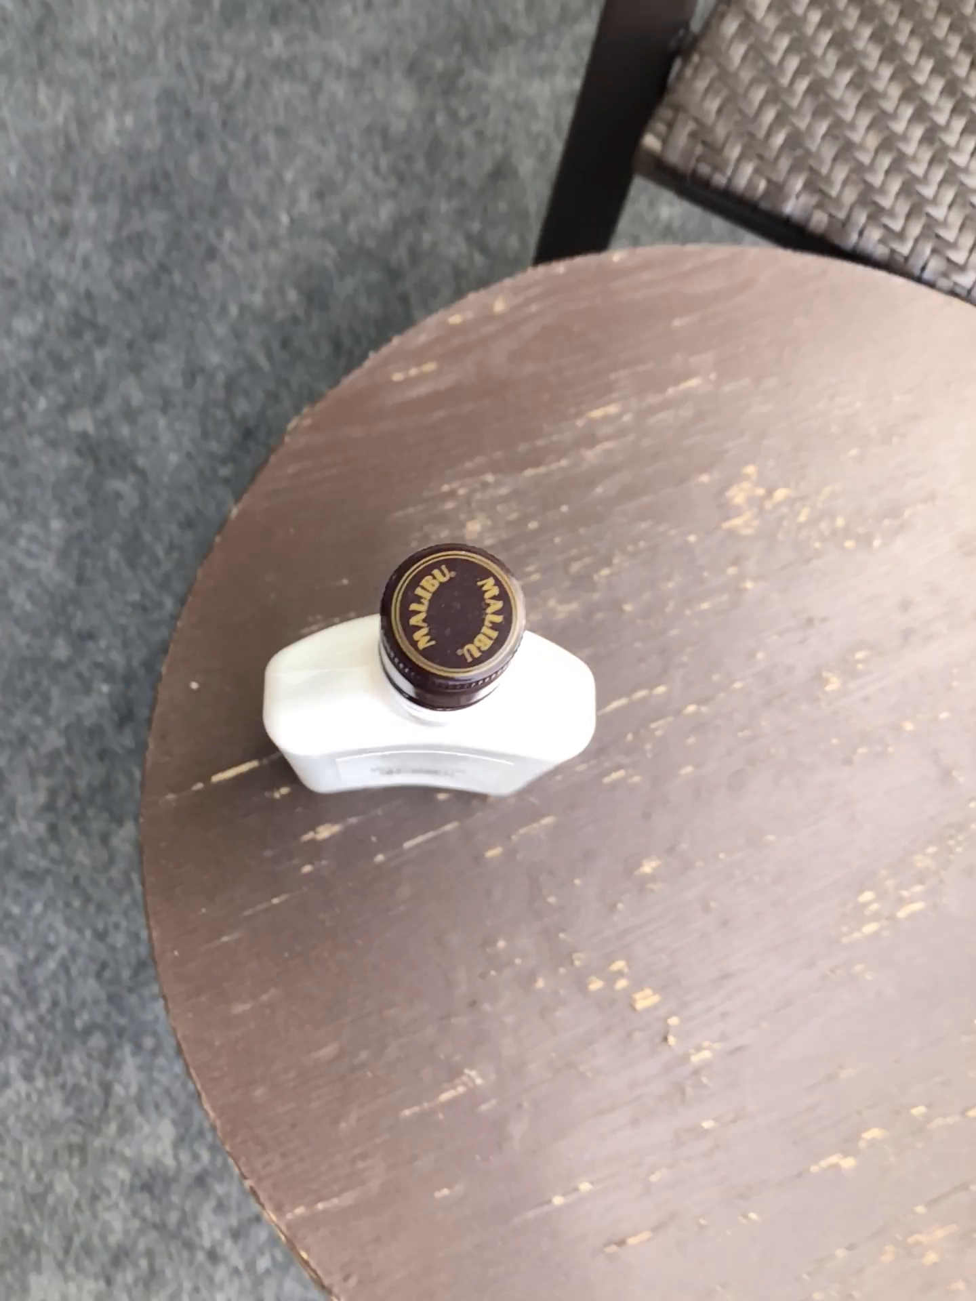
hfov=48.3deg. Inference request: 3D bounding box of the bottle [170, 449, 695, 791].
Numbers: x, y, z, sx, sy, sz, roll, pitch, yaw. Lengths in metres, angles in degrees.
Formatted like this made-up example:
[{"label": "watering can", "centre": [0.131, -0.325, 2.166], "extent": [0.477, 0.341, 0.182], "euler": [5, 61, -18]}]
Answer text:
[{"label": "bottle", "centre": [-0.016, 0.007, 0.315], "extent": [0.100, 0.211, 0.045], "euler": [1, 77, -4]}]
